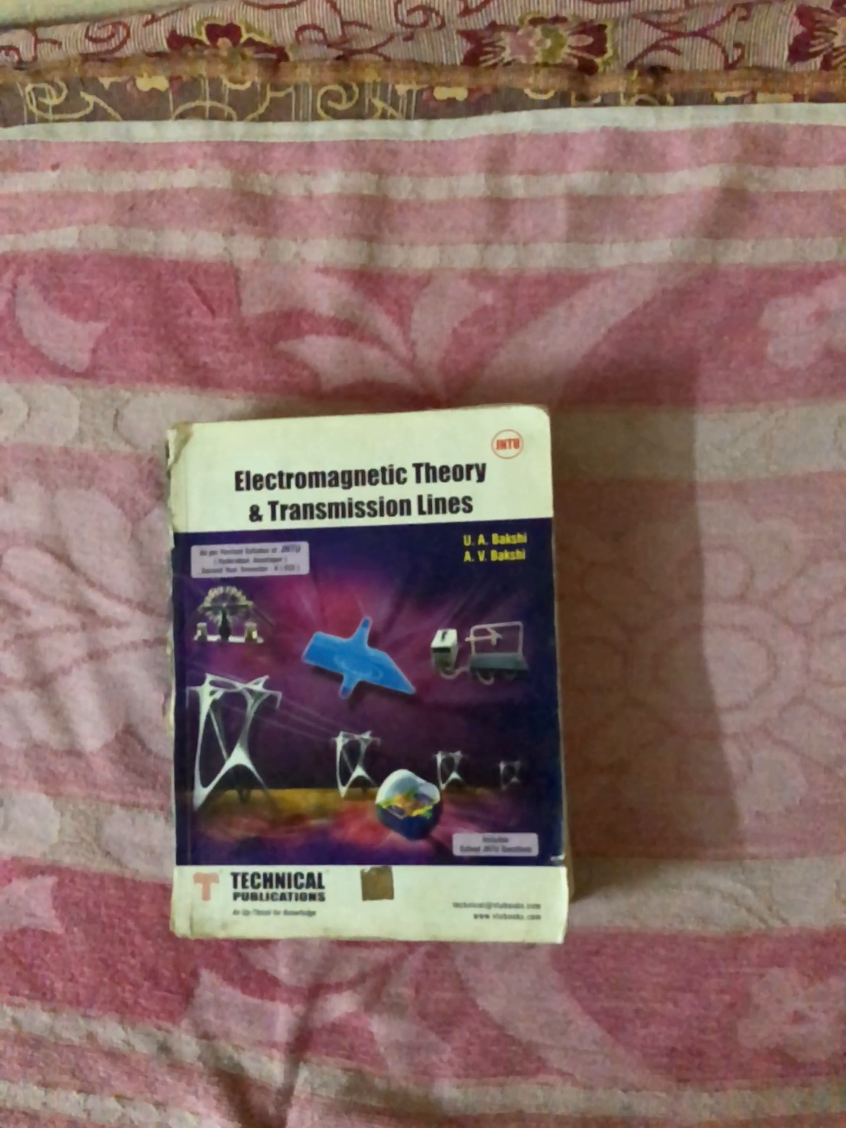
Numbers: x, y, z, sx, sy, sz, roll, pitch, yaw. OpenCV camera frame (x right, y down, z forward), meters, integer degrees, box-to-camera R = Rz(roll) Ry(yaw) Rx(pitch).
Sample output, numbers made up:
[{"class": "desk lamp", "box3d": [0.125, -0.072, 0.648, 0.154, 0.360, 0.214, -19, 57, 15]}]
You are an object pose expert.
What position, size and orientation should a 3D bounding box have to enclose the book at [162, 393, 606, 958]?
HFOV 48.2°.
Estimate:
[{"class": "book", "box3d": [-0.020, 0.053, 0.463, 0.200, 0.060, 0.250, -2, 85, 7]}]
